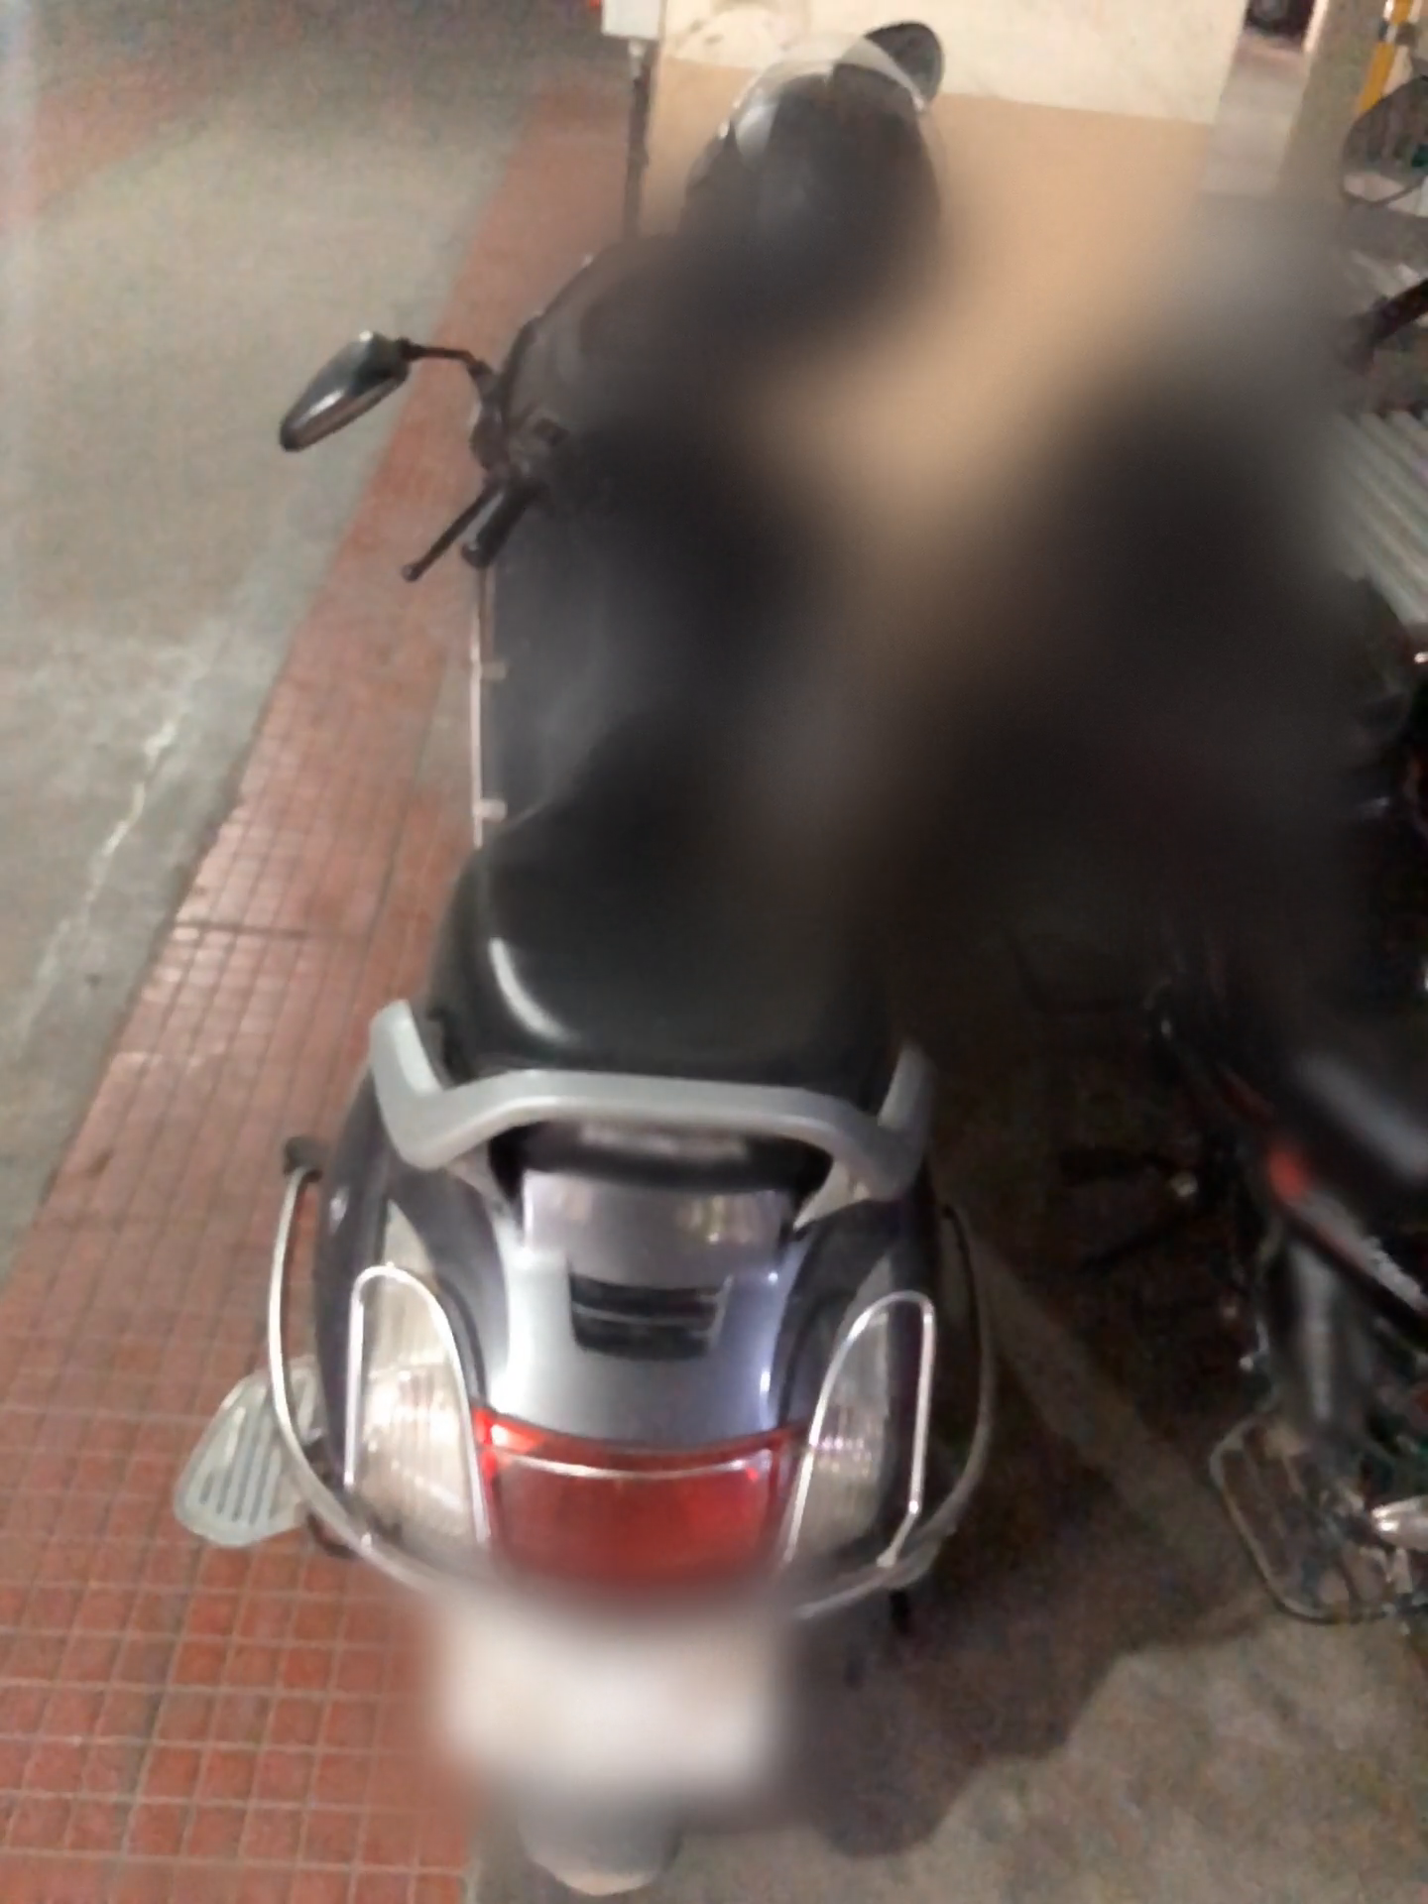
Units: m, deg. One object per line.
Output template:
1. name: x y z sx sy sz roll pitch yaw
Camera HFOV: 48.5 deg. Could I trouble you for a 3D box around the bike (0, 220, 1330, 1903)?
1. bike: -0.182 -0.046 1.598 0.595 0.988 1.501 1 34 -9
